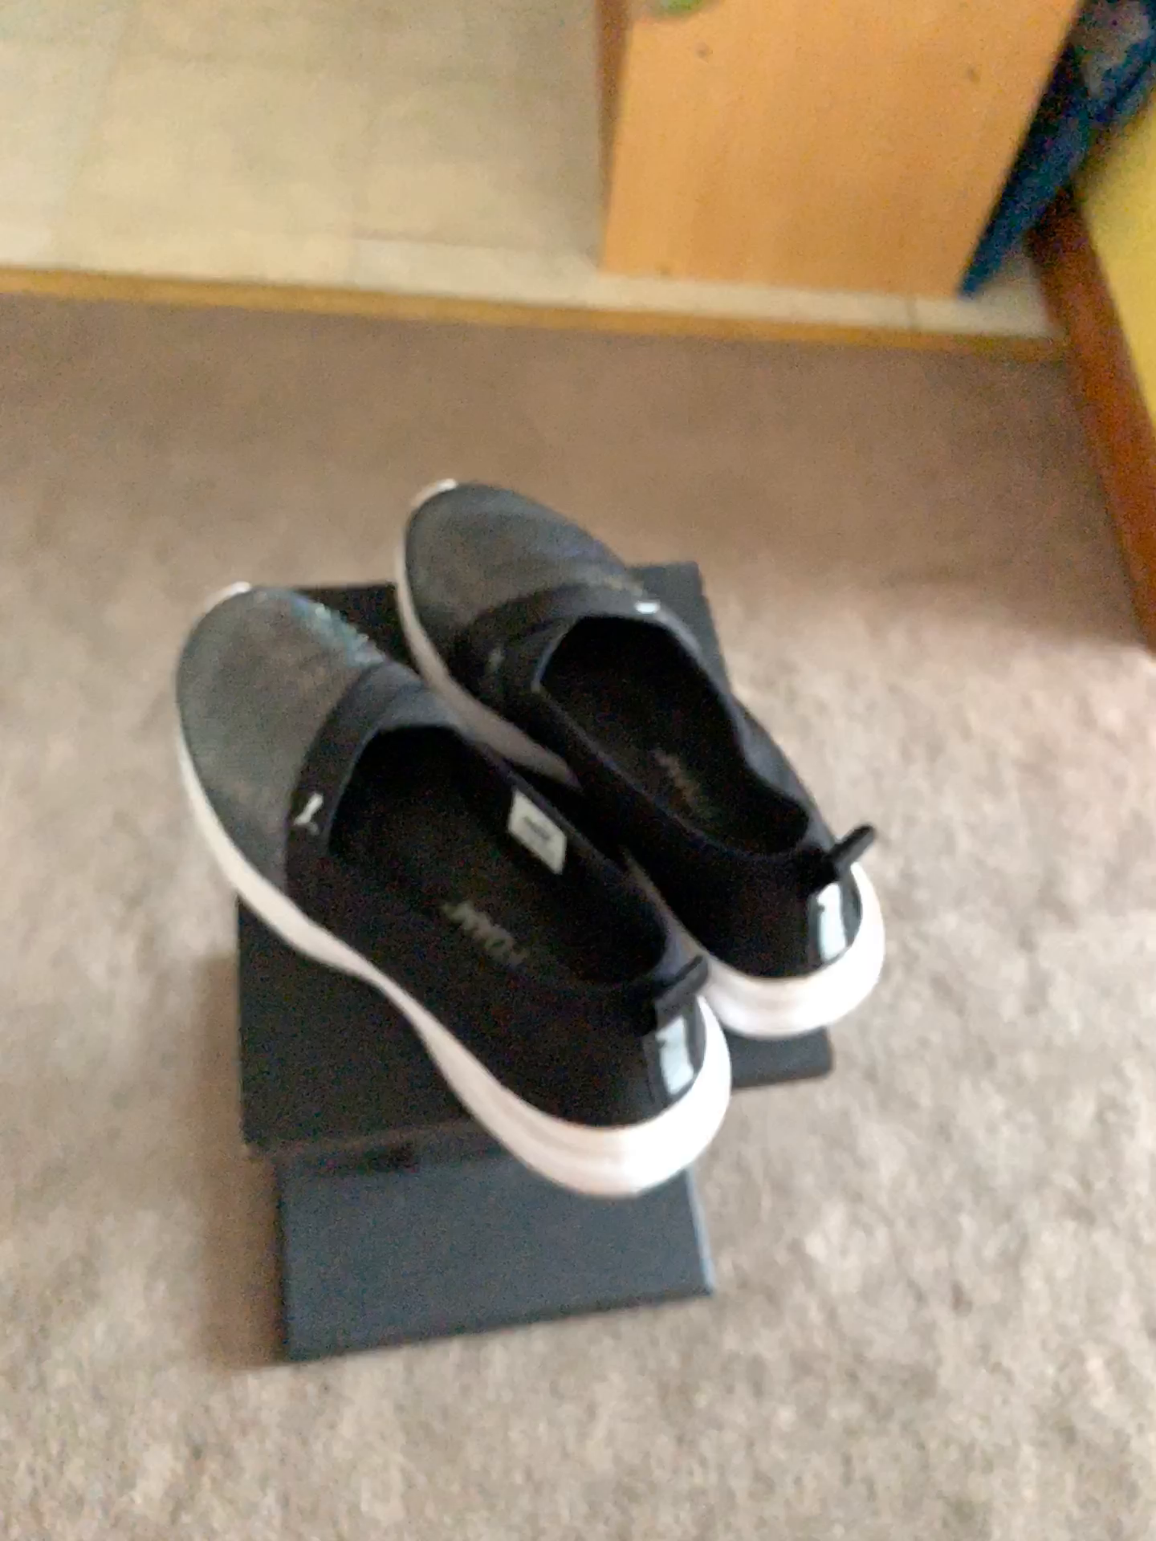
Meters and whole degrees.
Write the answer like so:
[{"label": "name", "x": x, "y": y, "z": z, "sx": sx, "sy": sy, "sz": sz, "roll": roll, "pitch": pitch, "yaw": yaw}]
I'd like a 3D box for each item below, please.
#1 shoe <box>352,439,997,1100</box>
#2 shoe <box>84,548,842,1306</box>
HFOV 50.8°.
[{"label": "shoe", "x": 0.021, "y": -0.013, "z": 0.447, "sx": 0.090, "sy": 0.079, "sz": 0.241, "roll": -29, "pitch": 56, "yaw": -21}, {"label": "shoe", "x": -0.047, "y": 0.036, "z": 0.407, "sx": 0.090, "sy": 0.079, "sz": 0.261, "roll": -38, "pitch": 57, "yaw": -24}]
